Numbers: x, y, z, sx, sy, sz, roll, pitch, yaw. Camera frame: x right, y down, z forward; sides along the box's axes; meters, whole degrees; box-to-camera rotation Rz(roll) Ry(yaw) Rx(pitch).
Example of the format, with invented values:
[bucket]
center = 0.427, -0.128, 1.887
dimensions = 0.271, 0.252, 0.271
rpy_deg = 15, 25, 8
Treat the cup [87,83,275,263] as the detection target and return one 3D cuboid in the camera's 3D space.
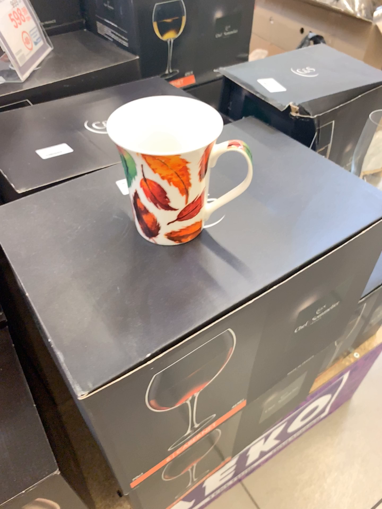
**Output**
[cup]
center = -0.002, -0.069, 0.331
dimensions = 0.120, 0.100, 0.090
rpy_deg = 10, 46, 11
